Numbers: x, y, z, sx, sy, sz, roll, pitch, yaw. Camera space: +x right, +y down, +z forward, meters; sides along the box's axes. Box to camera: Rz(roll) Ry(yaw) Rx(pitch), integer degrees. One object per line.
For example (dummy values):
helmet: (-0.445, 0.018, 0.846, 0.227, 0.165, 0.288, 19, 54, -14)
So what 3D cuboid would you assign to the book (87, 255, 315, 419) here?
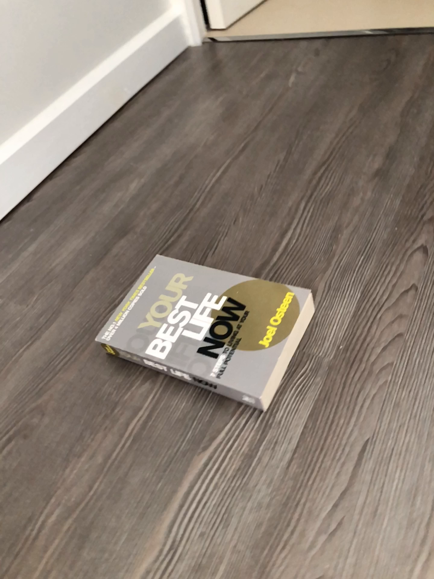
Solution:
book: (-0.016, 0.038, 0.509, 0.201, 0.030, 0.137, 14, 53, 27)
